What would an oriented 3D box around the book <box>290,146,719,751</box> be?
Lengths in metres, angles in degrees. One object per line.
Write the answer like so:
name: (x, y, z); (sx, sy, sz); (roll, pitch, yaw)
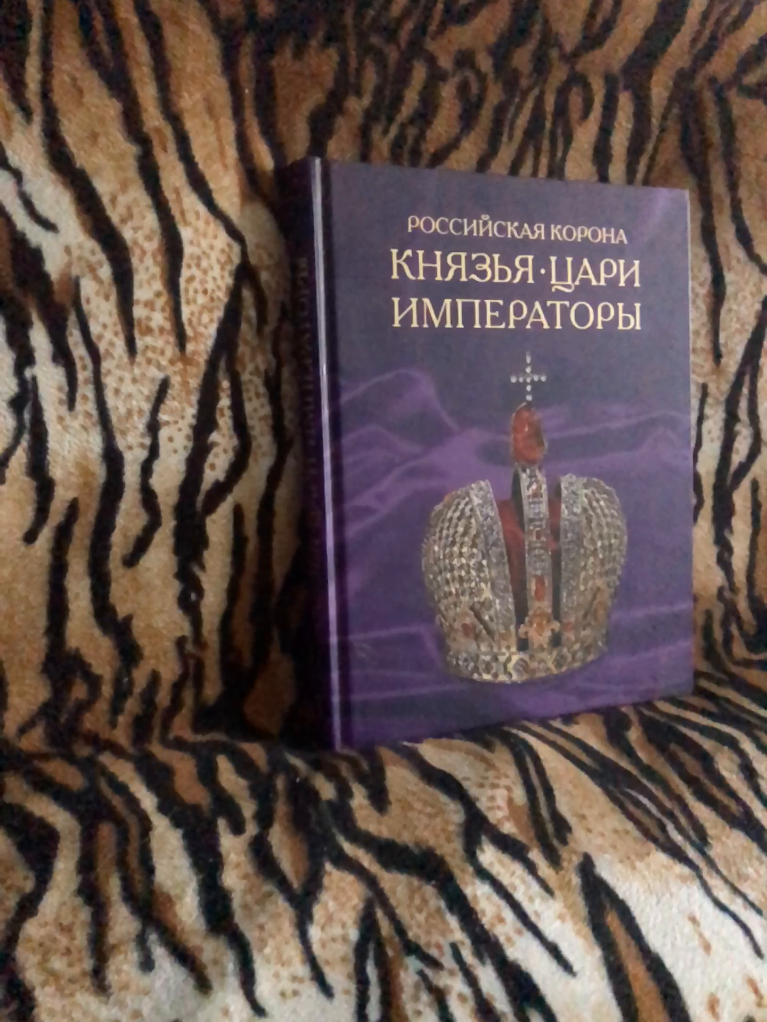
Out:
book: (0.071, -0.034, 0.444); (0.223, 0.280, 0.035); (-4, 5, -19)
